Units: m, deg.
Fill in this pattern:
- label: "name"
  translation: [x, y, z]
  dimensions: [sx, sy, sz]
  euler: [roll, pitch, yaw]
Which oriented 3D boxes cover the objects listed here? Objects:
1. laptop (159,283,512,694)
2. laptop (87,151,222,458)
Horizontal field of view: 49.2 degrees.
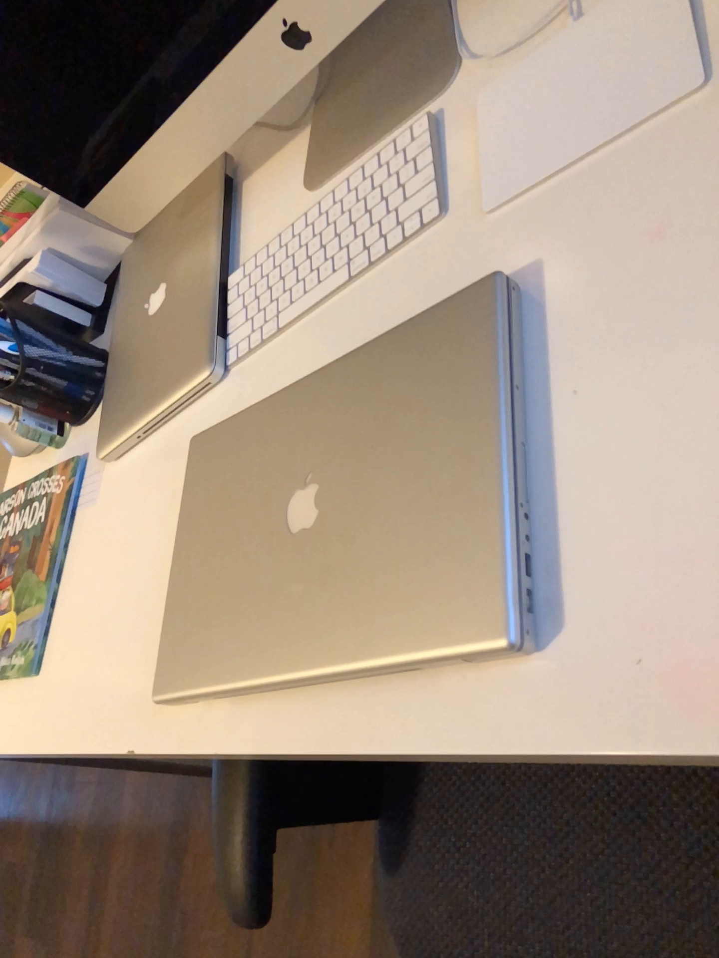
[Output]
- label: "laptop"
  translation: [-0.036, 0.025, 0.552]
  dimensions: [0.333, 0.005, 0.214]
  euler: [-21, 59, 42]
- label: "laptop"
  translation: [-0.227, -0.194, 0.873]
  dimensions: [0.201, 0.009, 0.279]
  euler: [-25, 56, 36]
